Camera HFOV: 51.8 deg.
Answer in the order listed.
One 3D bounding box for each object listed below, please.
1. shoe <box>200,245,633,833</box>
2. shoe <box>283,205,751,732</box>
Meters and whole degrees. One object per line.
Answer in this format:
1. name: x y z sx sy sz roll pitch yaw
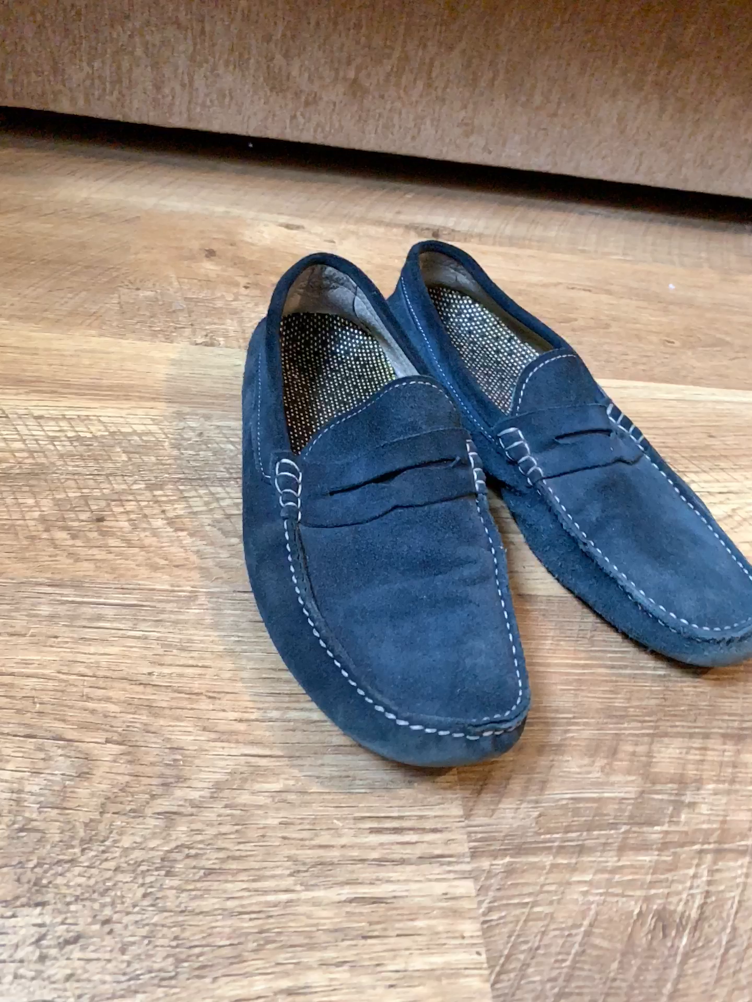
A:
1. shoe: -0.011 -0.015 0.332 0.100 0.070 0.271 -4 44 -16
2. shoe: 0.069 -0.046 0.376 0.110 0.070 0.291 -16 48 -27
